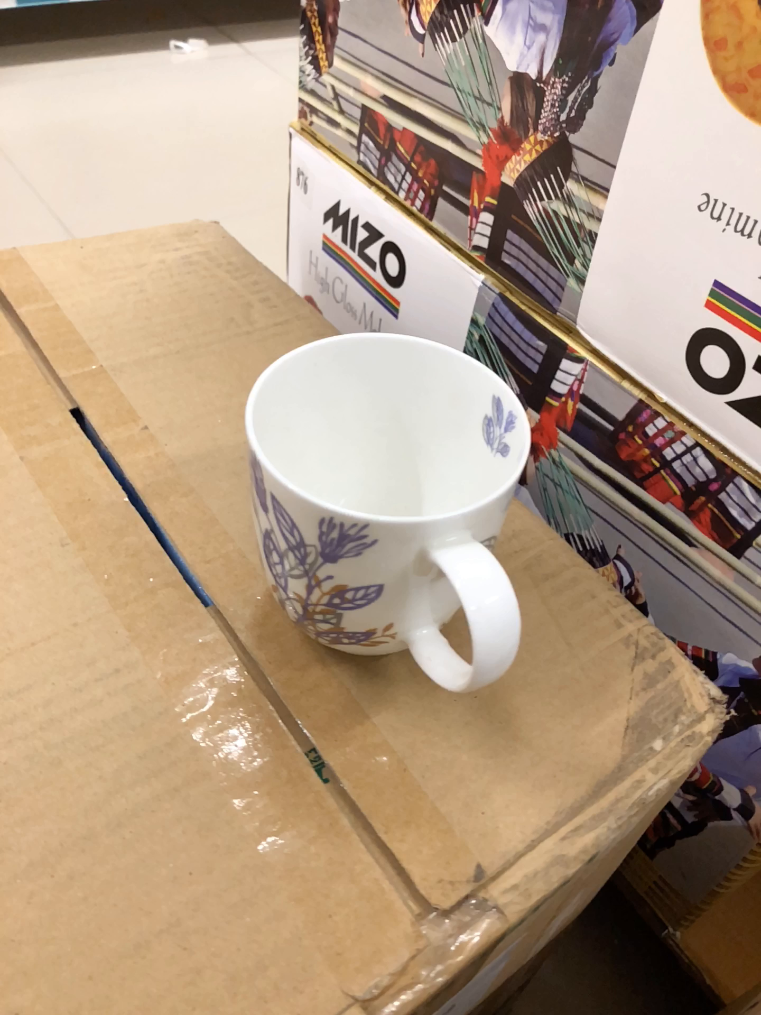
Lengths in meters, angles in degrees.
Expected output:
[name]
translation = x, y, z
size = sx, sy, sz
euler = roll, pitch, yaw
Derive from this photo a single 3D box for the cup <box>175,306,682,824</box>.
[cup]
translation = 0.005, 0.009, 0.258
size = 0.090, 0.070, 0.120
euler = -20, 51, -26
